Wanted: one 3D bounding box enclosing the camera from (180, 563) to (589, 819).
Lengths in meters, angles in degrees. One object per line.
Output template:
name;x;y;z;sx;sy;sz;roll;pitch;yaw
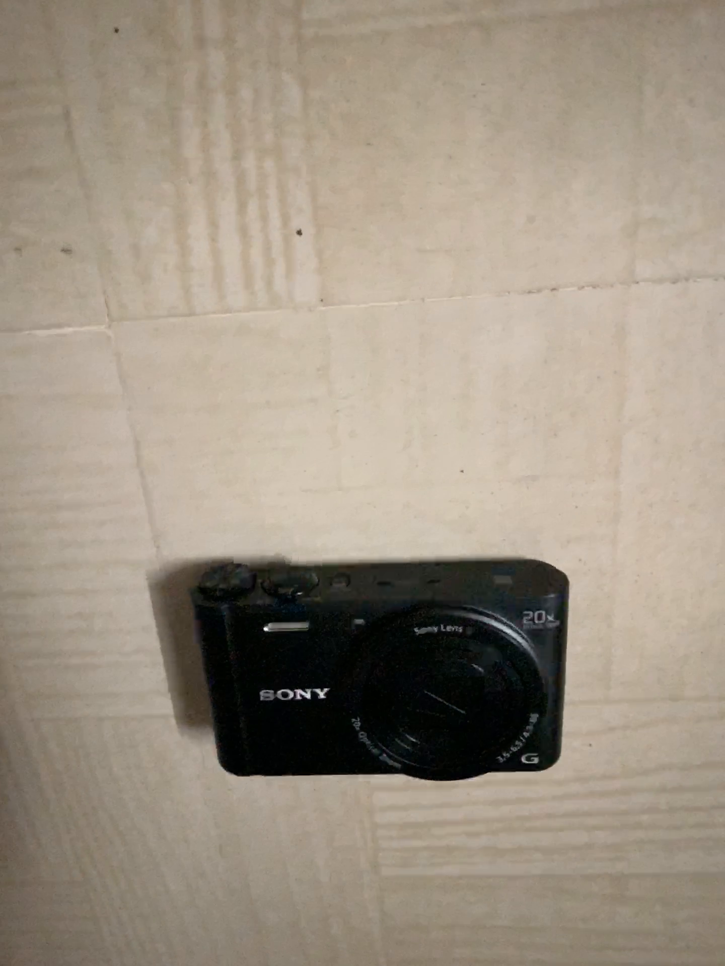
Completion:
camera;0.007;0.054;0.193;0.092;0.025;0.060;-2;114;5
